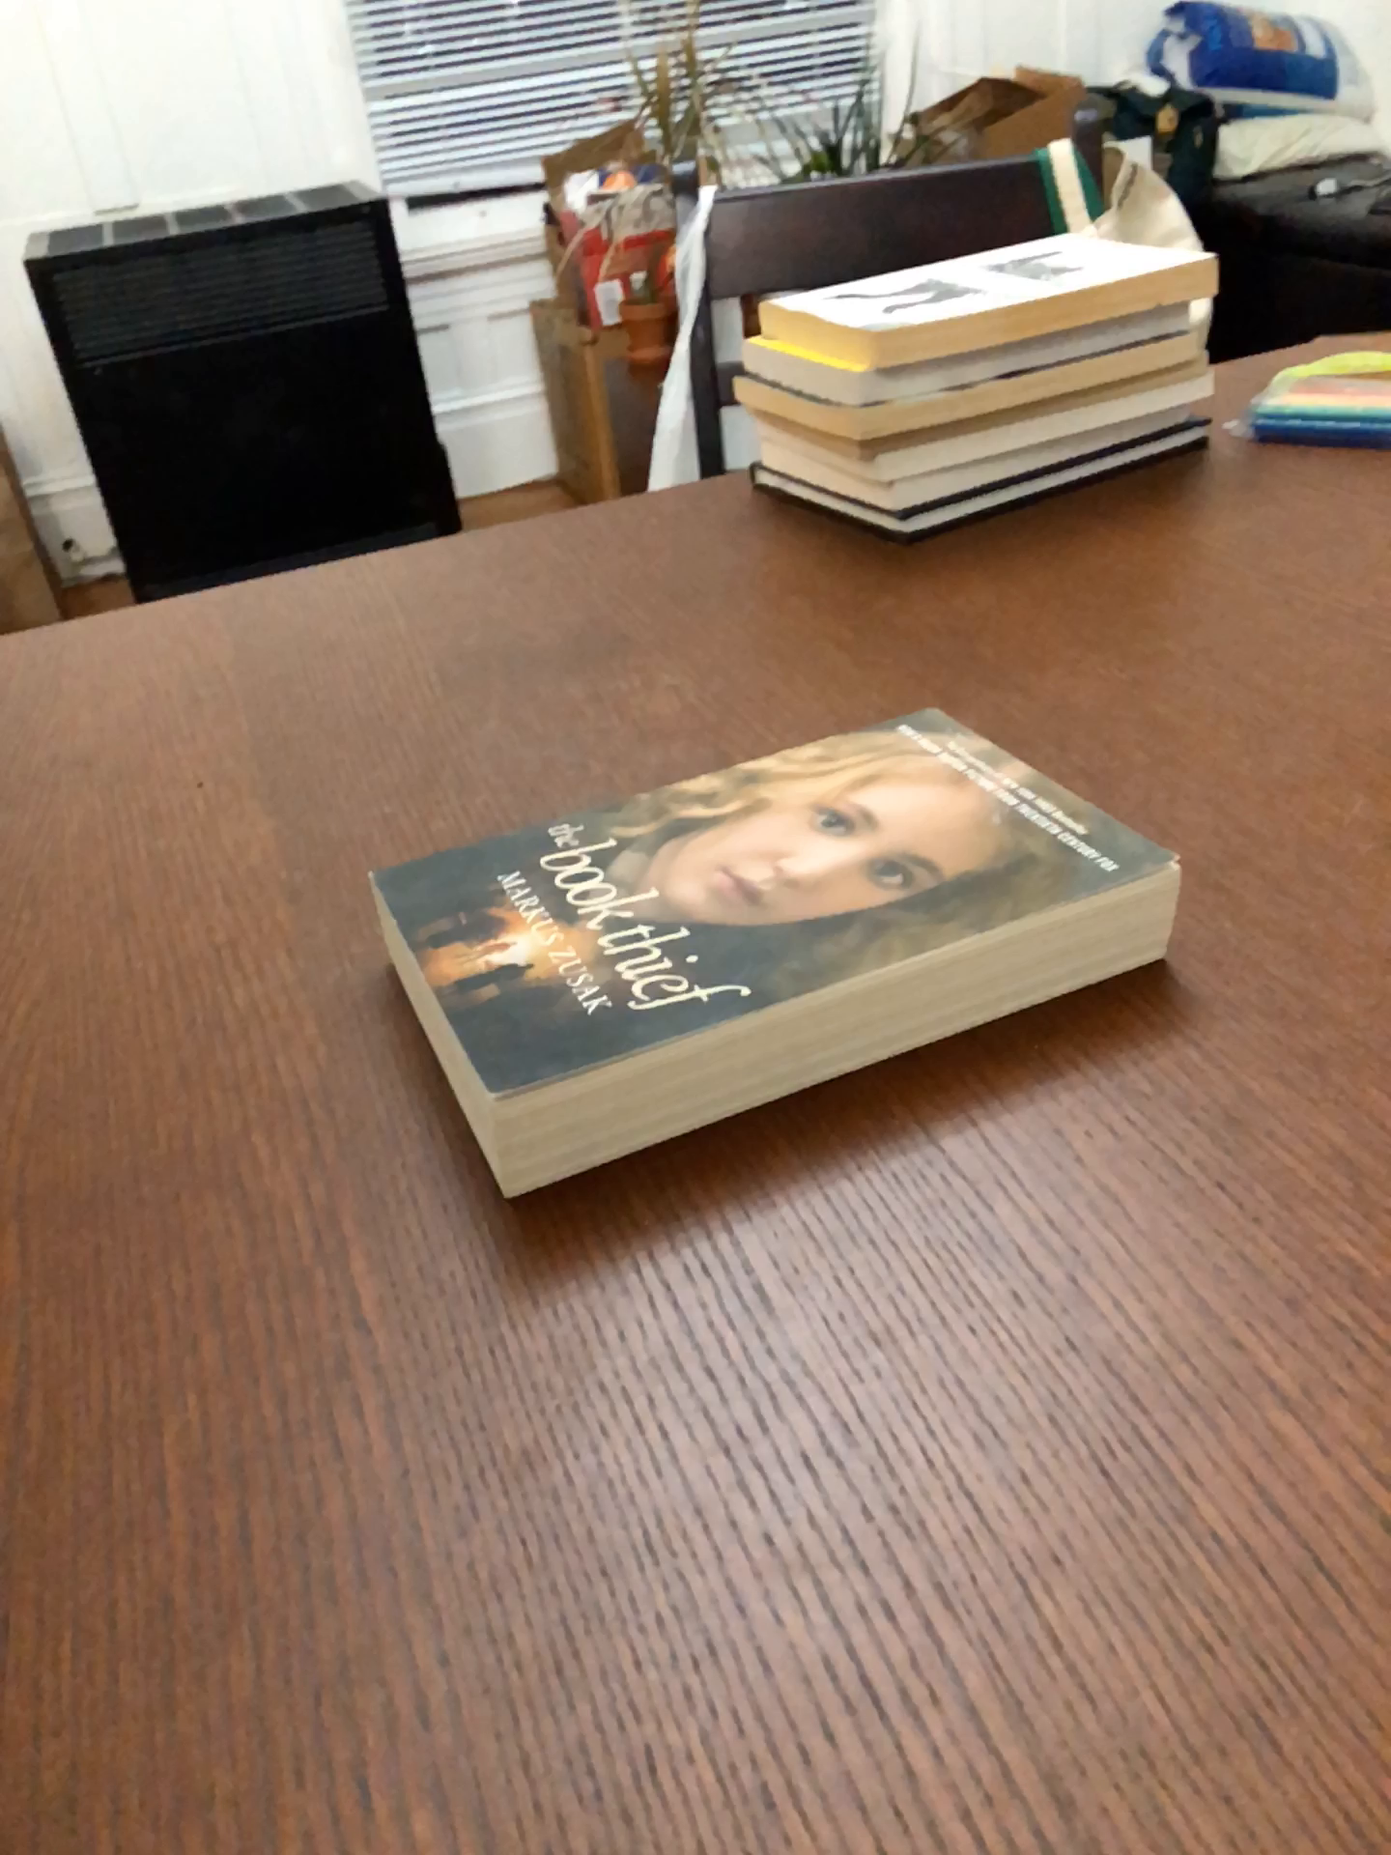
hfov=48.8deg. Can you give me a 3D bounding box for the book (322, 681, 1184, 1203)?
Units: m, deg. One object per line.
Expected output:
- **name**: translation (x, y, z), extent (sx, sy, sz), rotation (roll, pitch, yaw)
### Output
- **book**: translation (0.010, -0.010, 0.472), extent (0.220, 0.030, 0.151), rotation (-18, 33, -15)
